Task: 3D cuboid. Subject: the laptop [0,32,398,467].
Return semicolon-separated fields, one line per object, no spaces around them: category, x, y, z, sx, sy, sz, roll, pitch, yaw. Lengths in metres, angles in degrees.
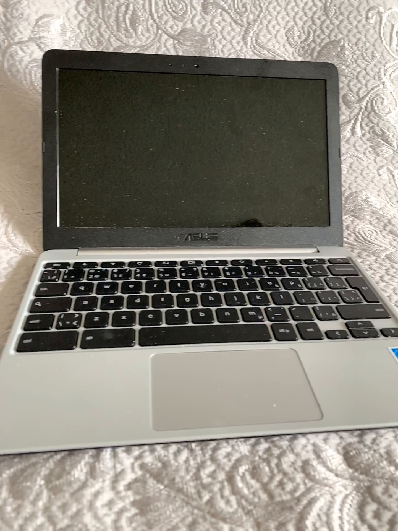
laptop;0.019;-0.048;0.307;0.288;0.127;0.288;0;40;-15
